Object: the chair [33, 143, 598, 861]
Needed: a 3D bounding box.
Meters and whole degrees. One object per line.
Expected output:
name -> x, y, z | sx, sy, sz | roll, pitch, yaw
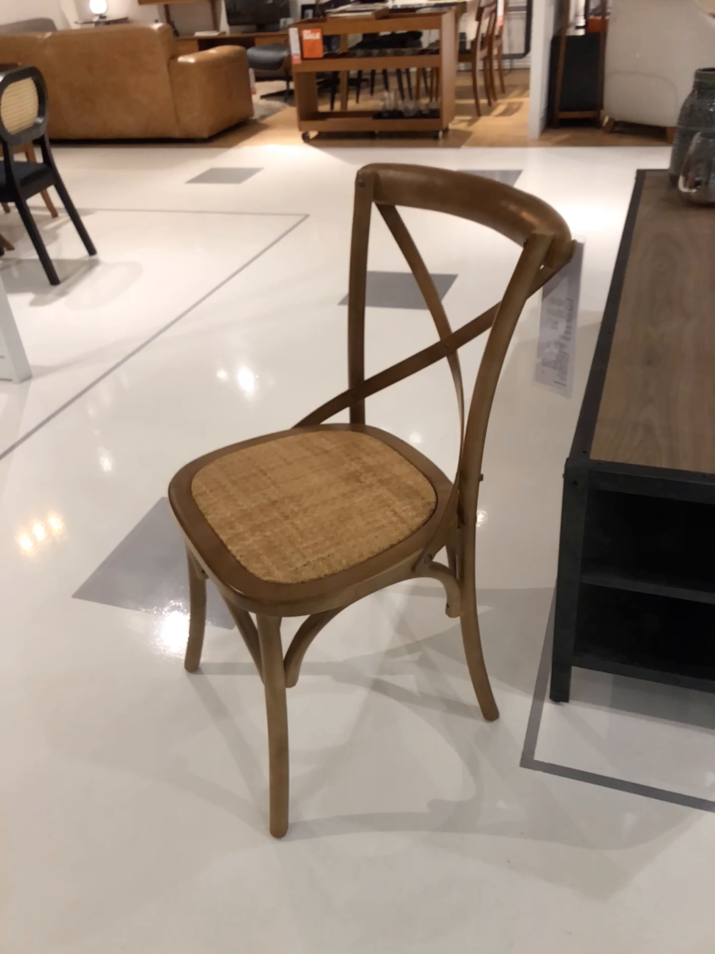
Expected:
chair -> -0.050, 0.011, 1.253 | 0.571, 0.863, 0.503 | -20, 36, -22
